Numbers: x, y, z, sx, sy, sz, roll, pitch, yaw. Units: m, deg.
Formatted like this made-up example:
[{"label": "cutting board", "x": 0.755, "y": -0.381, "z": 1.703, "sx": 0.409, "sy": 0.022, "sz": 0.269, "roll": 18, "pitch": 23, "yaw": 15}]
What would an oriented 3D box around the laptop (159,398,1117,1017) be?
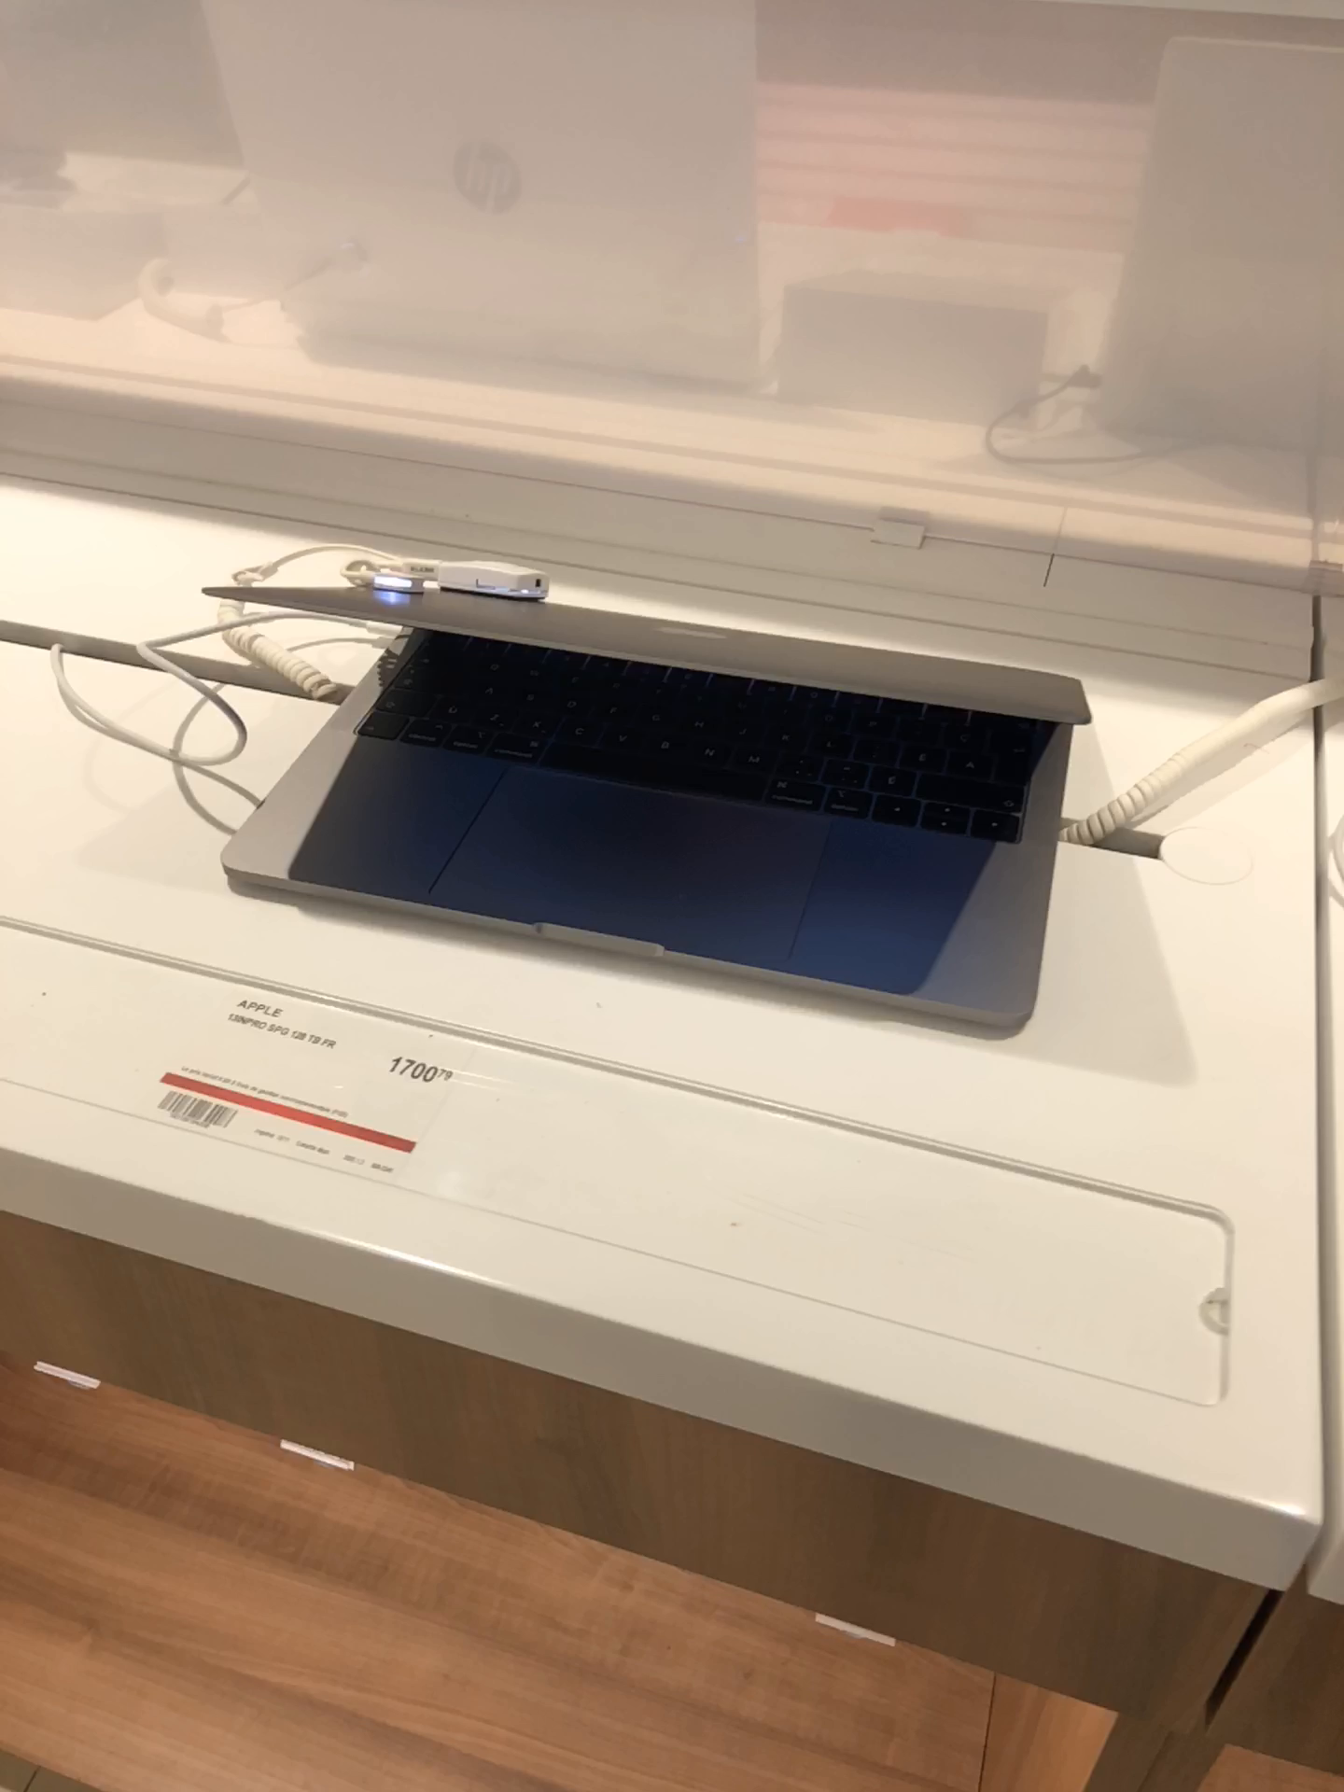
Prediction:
[{"label": "laptop", "x": 0.002, "y": -0.088, "z": 0.570, "sx": 0.304, "sy": 0.104, "sz": 0.202, "roll": 10, "pitch": 41, "yaw": 12}]
